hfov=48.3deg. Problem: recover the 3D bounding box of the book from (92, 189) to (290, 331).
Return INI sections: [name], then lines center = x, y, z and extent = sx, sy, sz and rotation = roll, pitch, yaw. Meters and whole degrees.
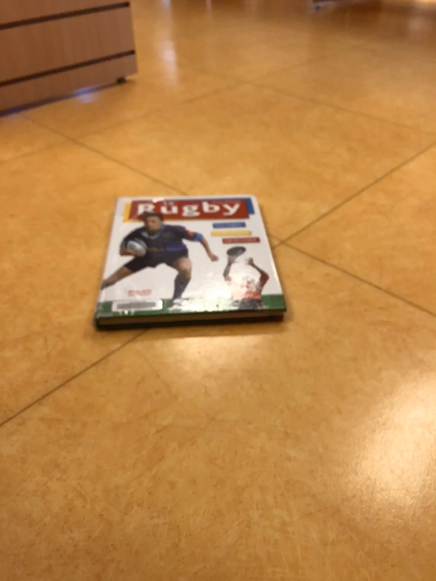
[book]
center = -0.035, -0.052, 0.607
extent = 0.203, 0.024, 0.262
rotation = -2, 39, -3
